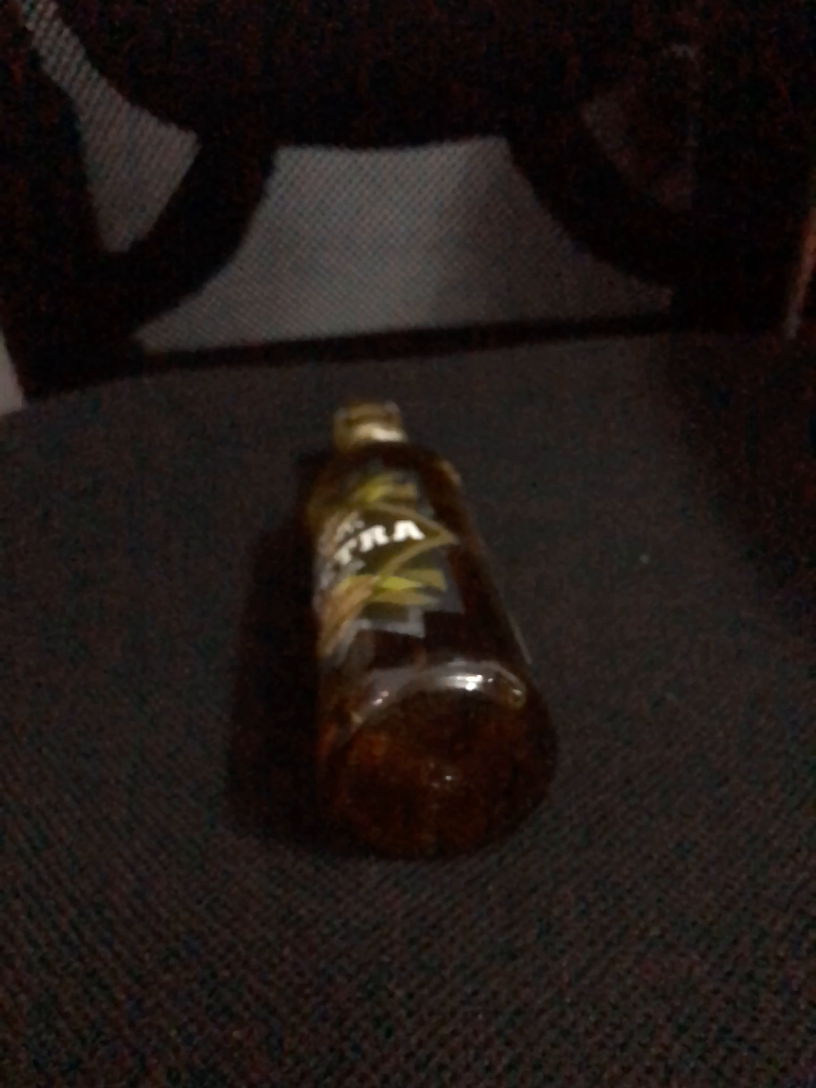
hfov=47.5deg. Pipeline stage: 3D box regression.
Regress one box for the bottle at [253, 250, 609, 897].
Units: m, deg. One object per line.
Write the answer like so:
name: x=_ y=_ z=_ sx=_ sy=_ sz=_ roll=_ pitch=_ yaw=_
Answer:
bottle: x=-0.006 y=-0.016 z=0.296 sx=0.070 sy=0.060 sz=0.231 roll=-13 pitch=38 yaw=1
